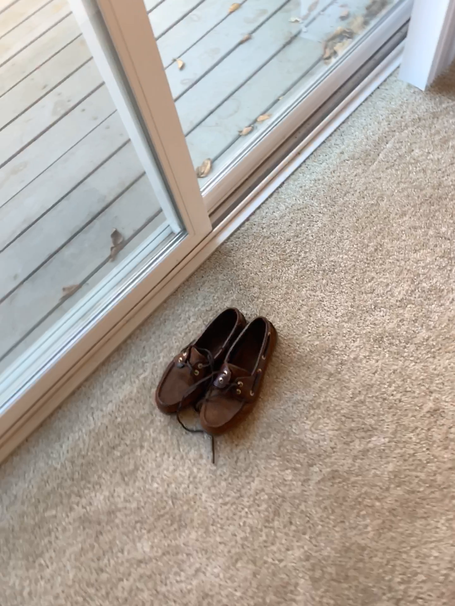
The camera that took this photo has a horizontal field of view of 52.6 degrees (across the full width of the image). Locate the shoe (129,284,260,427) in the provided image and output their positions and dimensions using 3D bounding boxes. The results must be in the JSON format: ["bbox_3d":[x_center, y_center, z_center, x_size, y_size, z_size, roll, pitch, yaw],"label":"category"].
[{"bbox_3d":[-0.066,0.118,1.043,0.110,0.100,0.300,35,74,22],"label":"shoe"}]

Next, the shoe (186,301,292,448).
[{"bbox_3d":[0.033,0.156,1.015,0.100,0.100,0.290,23,70,19],"label":"shoe"}]
